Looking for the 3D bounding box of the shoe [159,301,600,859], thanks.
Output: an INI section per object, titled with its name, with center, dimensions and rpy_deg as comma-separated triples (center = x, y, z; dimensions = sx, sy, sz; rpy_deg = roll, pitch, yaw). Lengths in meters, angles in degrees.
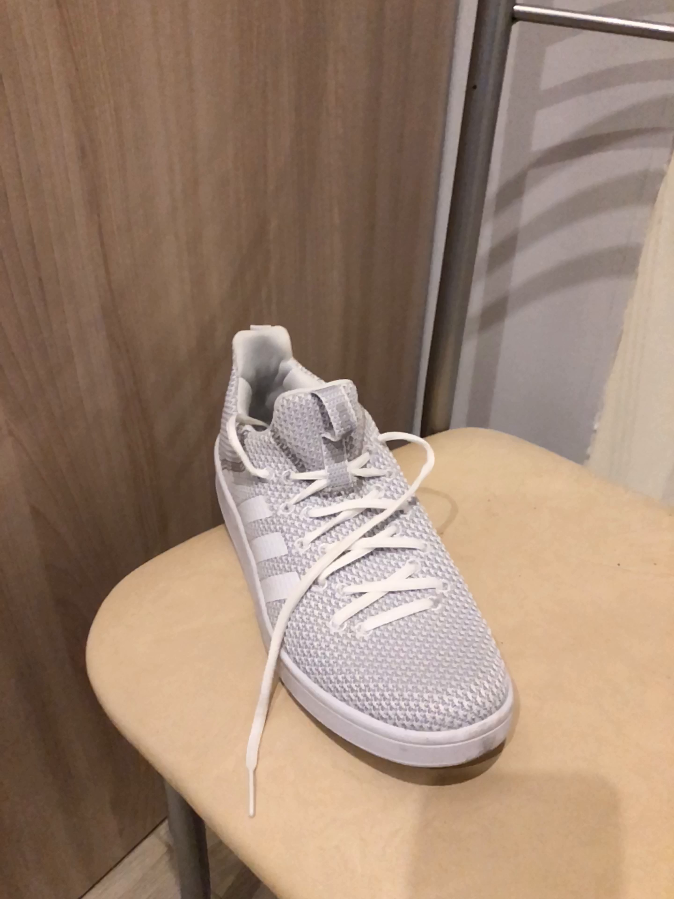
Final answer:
[shoe]
center = -0.006, 0.041, 0.433
dimensions = 0.110, 0.129, 0.302
rpy_deg = -14, 39, -21
